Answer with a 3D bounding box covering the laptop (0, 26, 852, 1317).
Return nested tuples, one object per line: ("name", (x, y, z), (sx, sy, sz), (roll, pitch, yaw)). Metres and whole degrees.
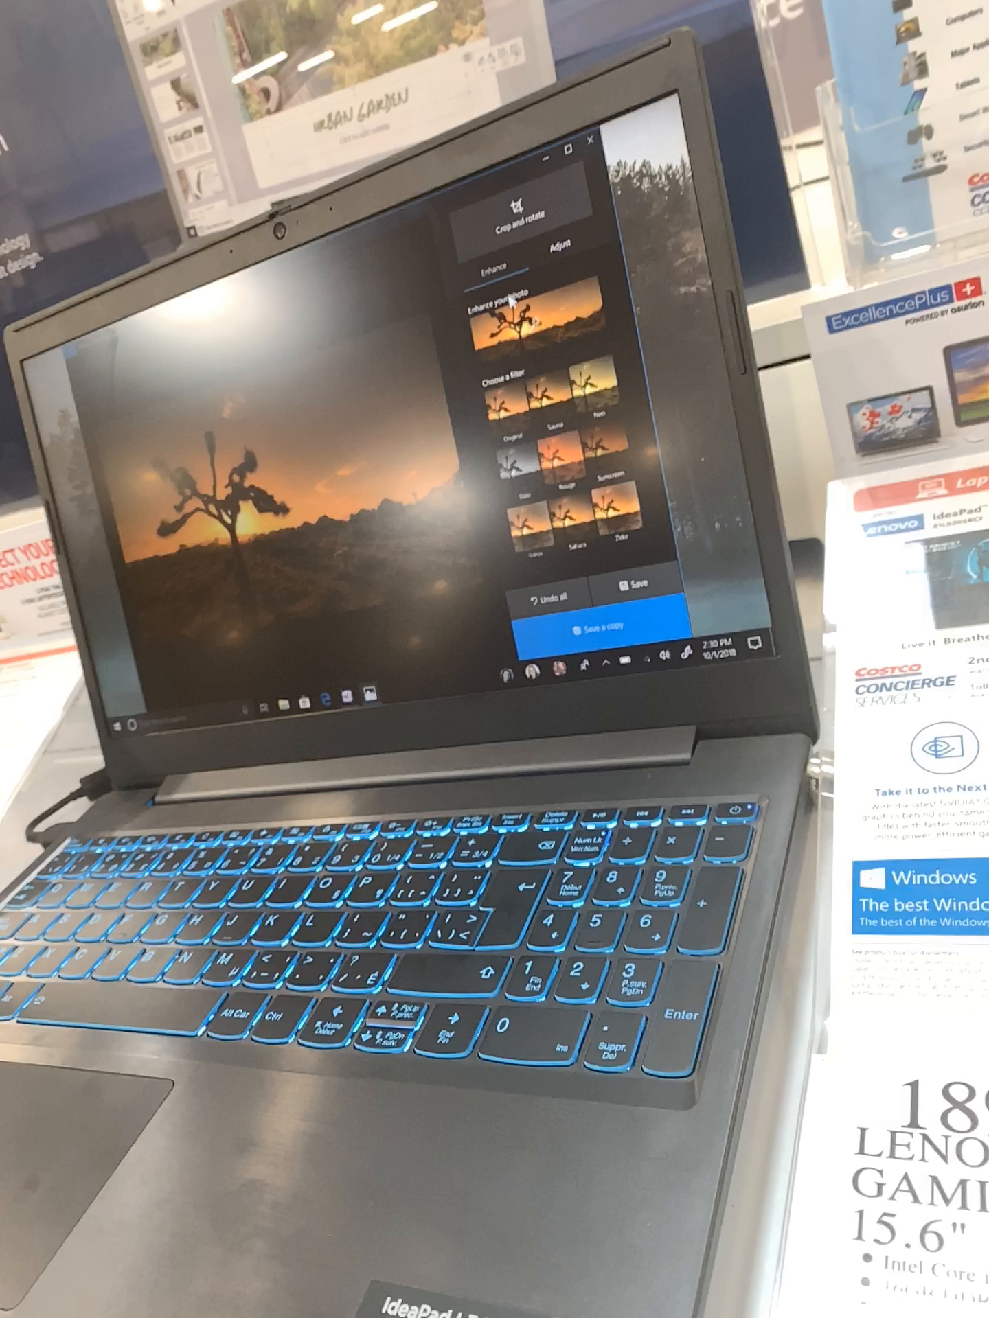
("laptop", (-0.100, -0.004, 0.323), (0.341, 0.214, 0.329), (-8, 28, 28))
